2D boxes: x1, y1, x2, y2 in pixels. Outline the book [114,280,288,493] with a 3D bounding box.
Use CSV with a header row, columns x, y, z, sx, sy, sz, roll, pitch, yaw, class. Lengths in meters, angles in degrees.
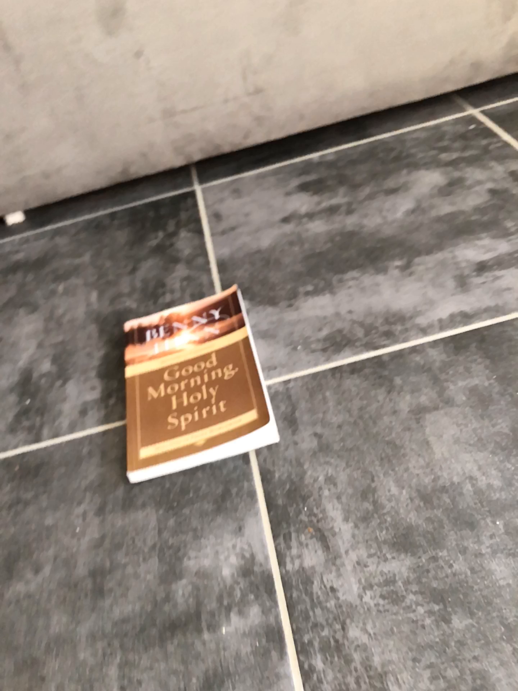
x,y,z,sx,sy,sz,roll,pitch,yaw,class
-0.071,0.027,0.584,0.150,0.020,0.231,-16,43,0,book
